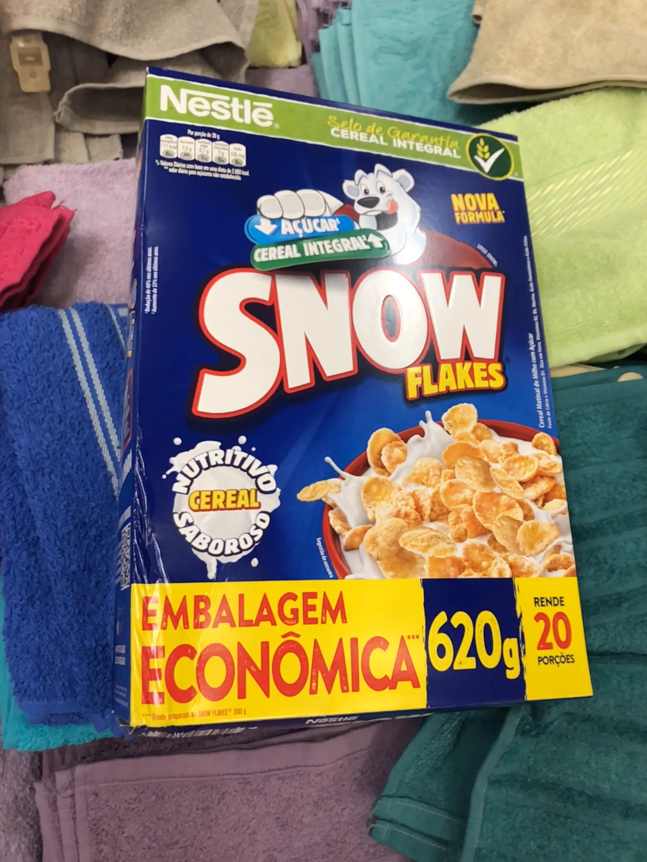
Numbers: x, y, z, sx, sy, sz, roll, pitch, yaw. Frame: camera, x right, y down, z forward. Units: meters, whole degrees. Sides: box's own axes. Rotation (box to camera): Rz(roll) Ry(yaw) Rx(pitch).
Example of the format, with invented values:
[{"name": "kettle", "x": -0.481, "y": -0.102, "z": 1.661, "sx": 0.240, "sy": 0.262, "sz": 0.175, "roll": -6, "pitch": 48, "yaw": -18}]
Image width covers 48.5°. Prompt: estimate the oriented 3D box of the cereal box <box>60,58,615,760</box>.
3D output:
[{"name": "cereal box", "x": 0.003, "y": -0.016, "z": 0.351, "sx": 0.220, "sy": 0.070, "sz": 0.301, "roll": 3, "pitch": 72, "yaw": -15}]
